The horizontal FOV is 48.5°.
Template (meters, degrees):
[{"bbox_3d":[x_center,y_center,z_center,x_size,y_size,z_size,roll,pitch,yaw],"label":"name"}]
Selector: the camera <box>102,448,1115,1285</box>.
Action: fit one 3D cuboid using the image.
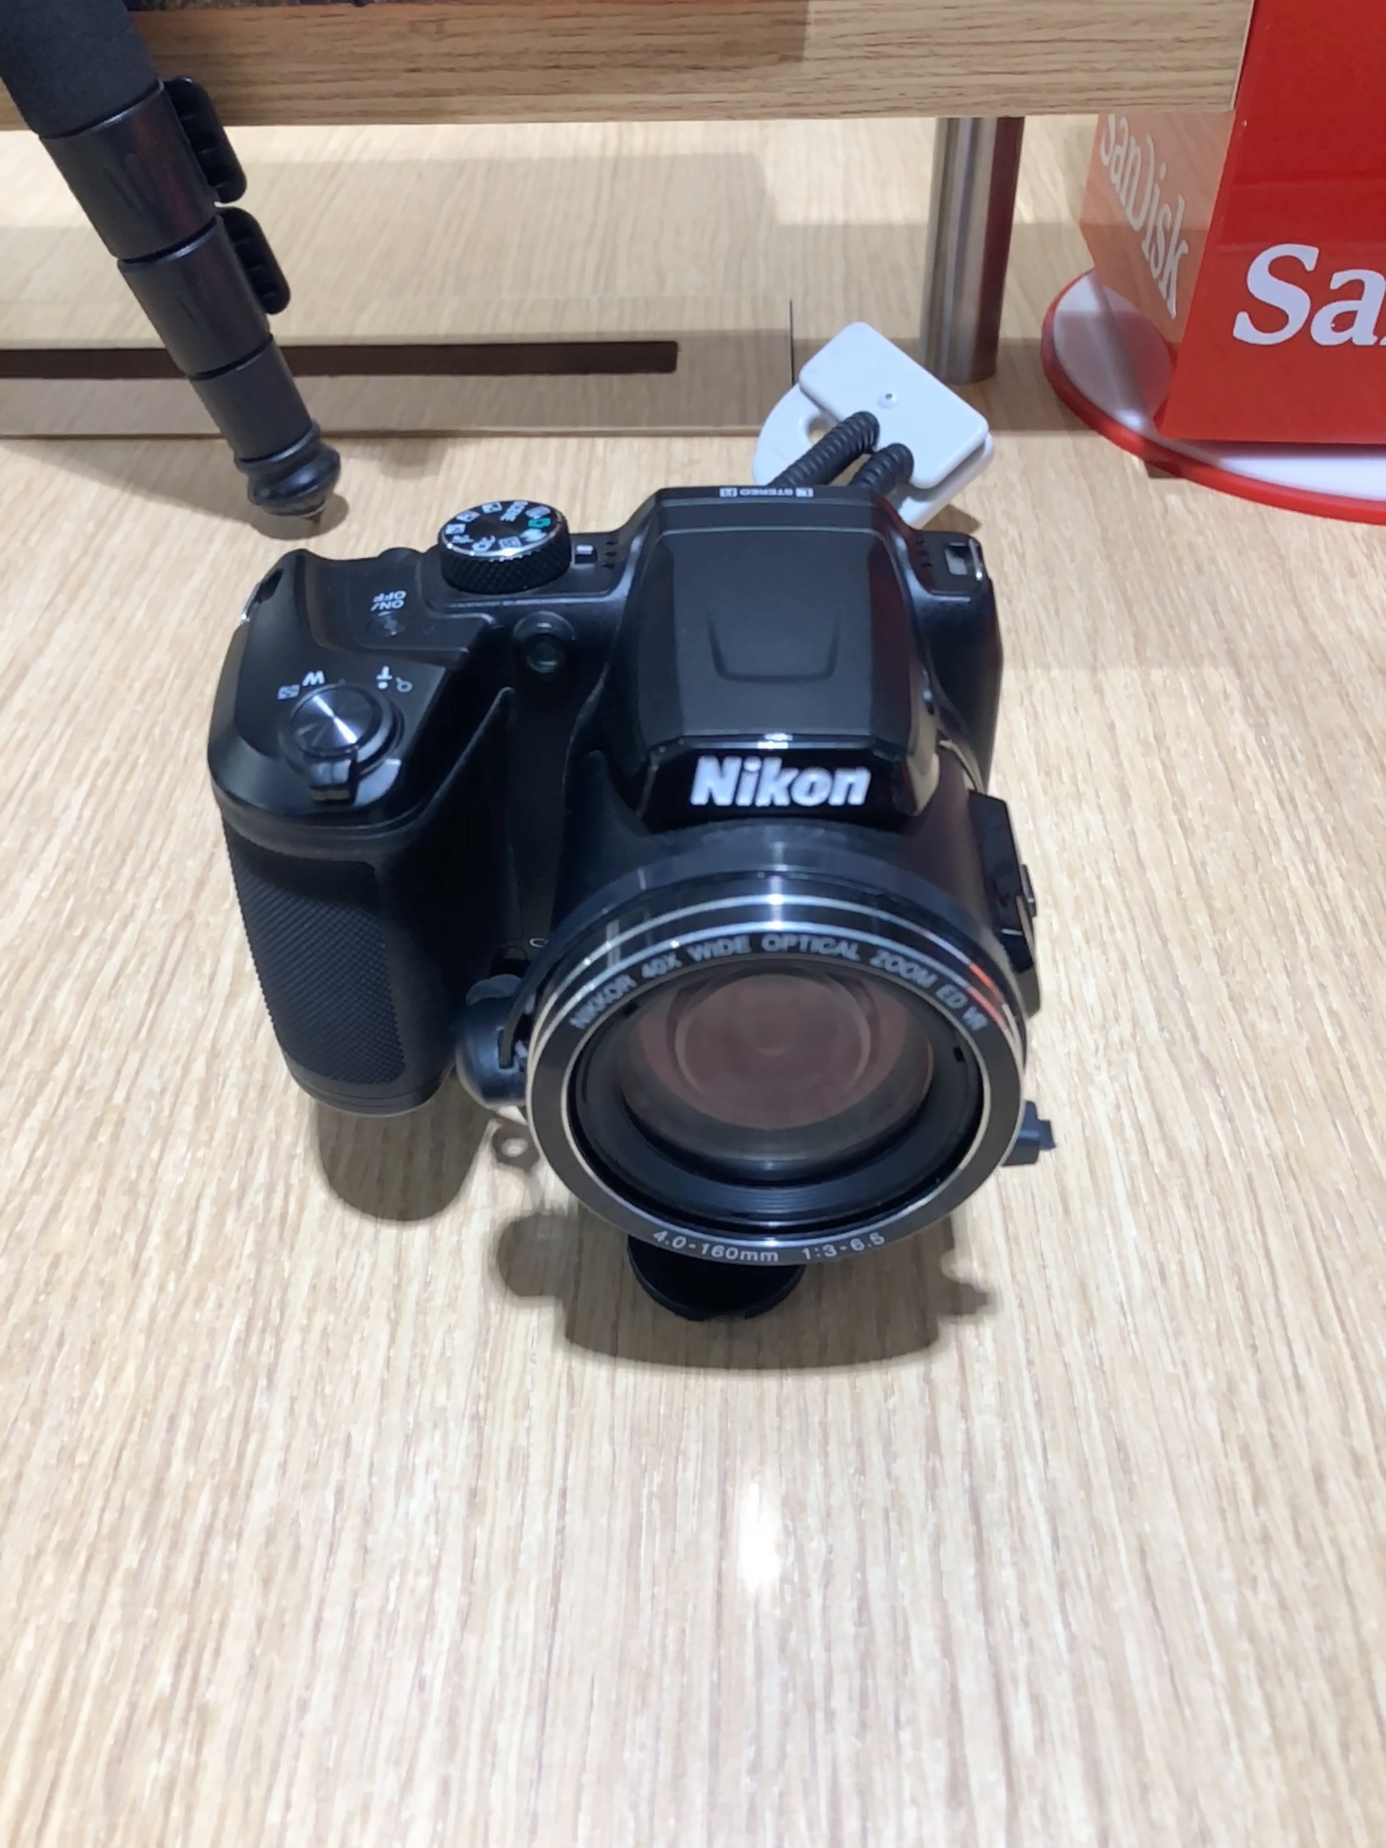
[{"bbox_3d":[-0.008,-0.010,0.214,0.103,0.070,0.093,-1,44,0],"label":"camera"}]
